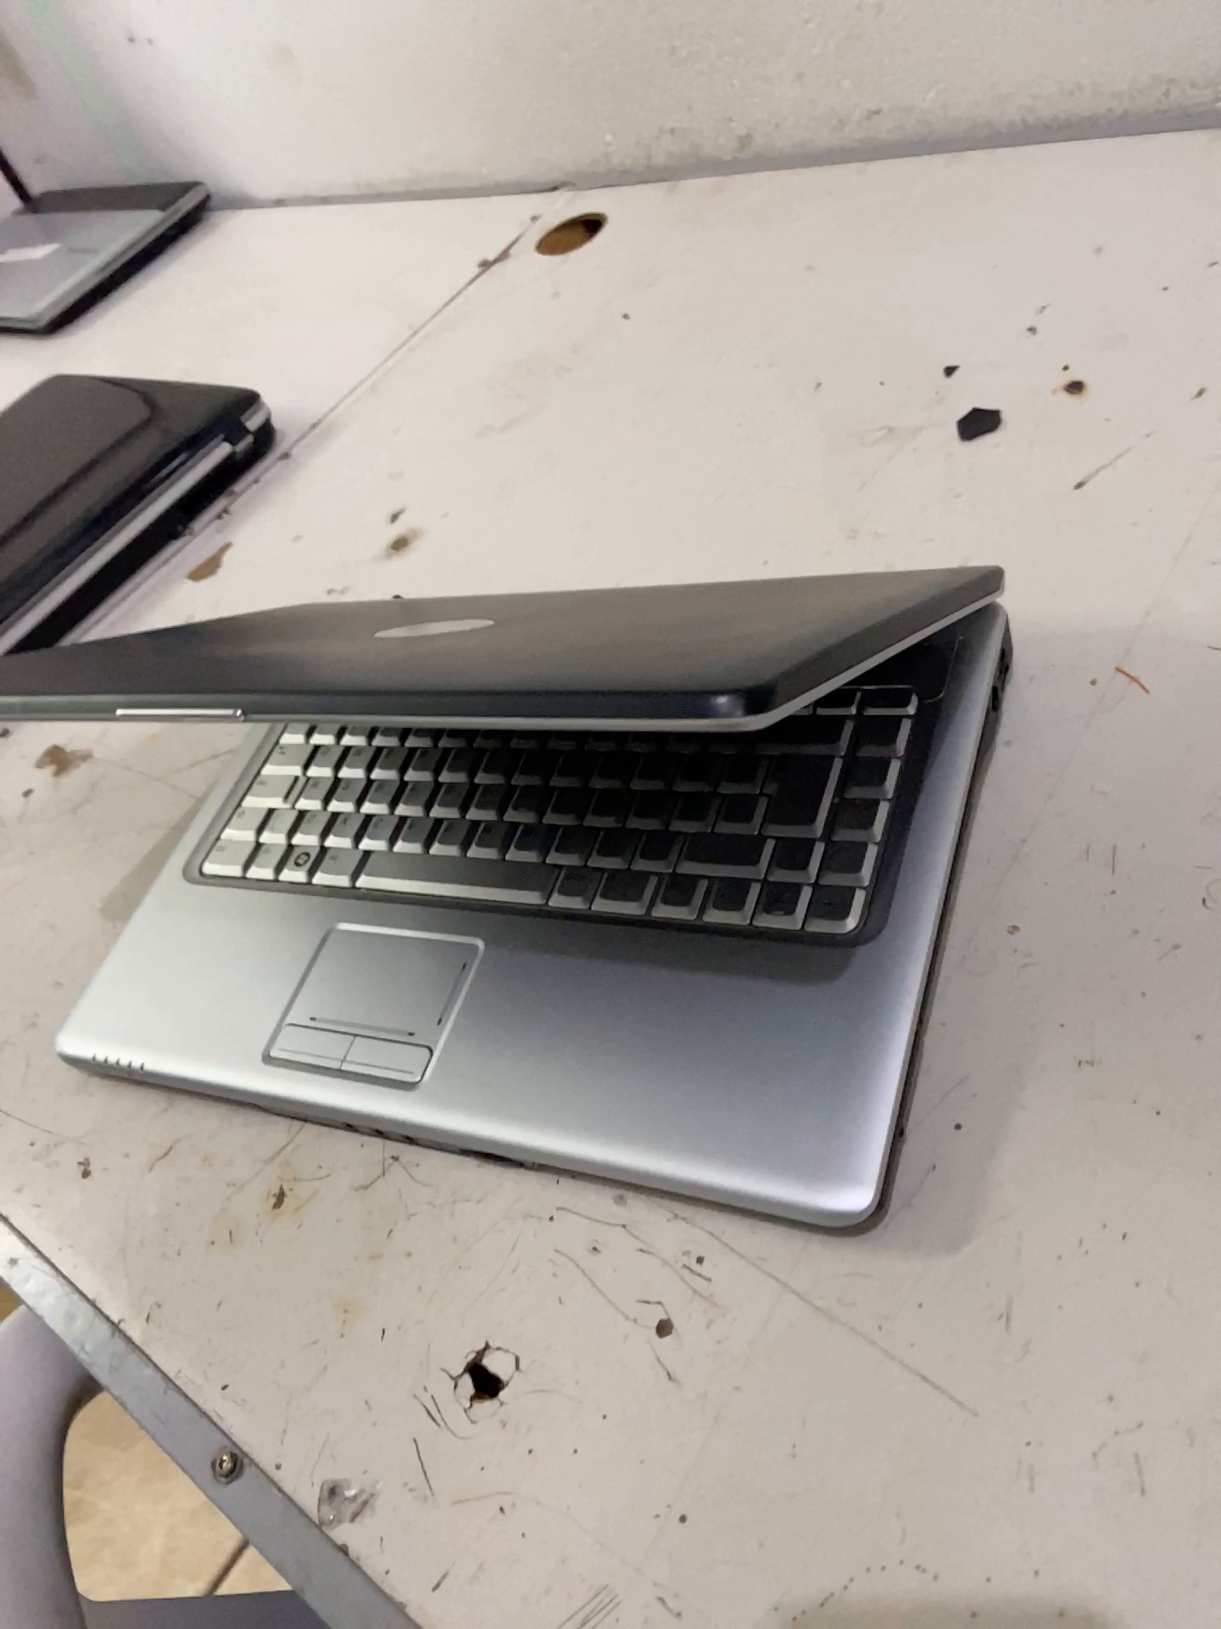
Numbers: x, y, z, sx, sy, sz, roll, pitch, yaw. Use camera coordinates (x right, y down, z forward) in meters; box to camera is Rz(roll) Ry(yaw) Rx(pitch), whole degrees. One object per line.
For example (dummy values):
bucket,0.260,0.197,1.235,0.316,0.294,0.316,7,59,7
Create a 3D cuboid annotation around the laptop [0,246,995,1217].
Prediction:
laptop,-0.071,-0.035,0.447,0.348,0.145,0.238,3,53,29
